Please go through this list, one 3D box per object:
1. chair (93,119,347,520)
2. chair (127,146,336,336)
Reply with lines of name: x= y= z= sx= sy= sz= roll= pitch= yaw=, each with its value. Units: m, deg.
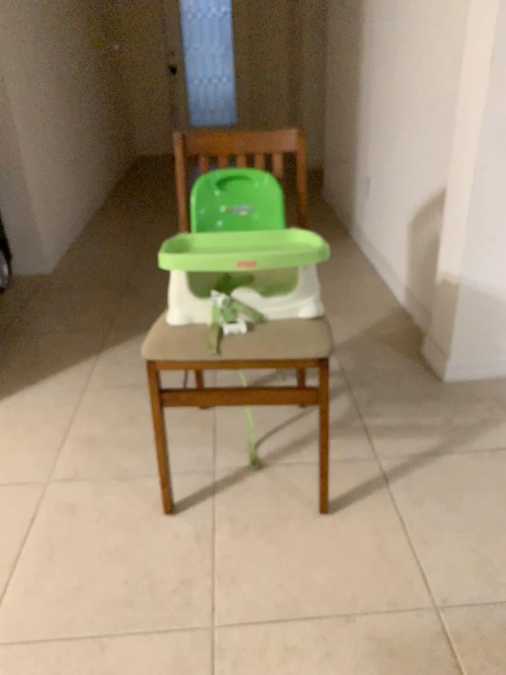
chair: x=-0.033 y=-0.062 z=1.391 sx=0.454 sy=0.882 sz=0.559 roll=-1 pitch=27 yaw=3
chair: x=-0.038 y=-0.248 z=1.264 sx=0.404 sy=0.328 sz=0.388 roll=-2 pitch=27 yaw=0
